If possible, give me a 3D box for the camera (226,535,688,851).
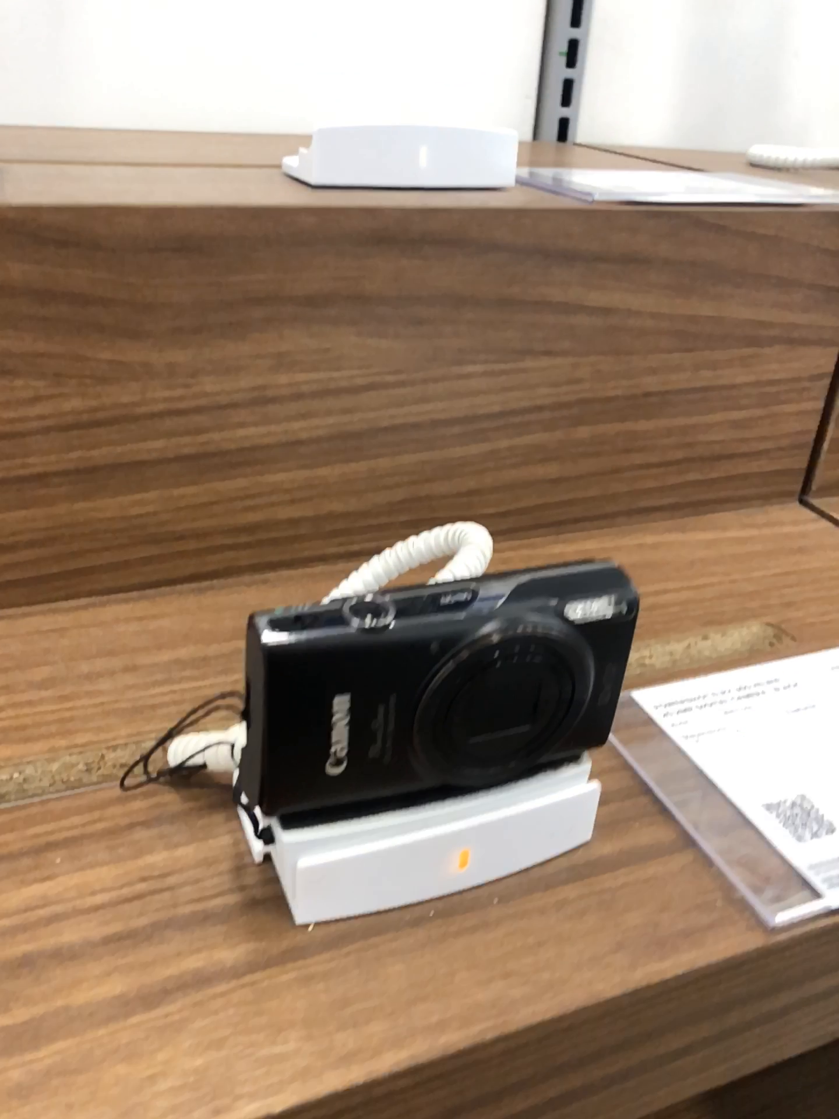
[{"bbox_3d":[0.009,0.031,0.233,0.110,0.060,0.020,-7,33,-22],"label":"camera"}]
